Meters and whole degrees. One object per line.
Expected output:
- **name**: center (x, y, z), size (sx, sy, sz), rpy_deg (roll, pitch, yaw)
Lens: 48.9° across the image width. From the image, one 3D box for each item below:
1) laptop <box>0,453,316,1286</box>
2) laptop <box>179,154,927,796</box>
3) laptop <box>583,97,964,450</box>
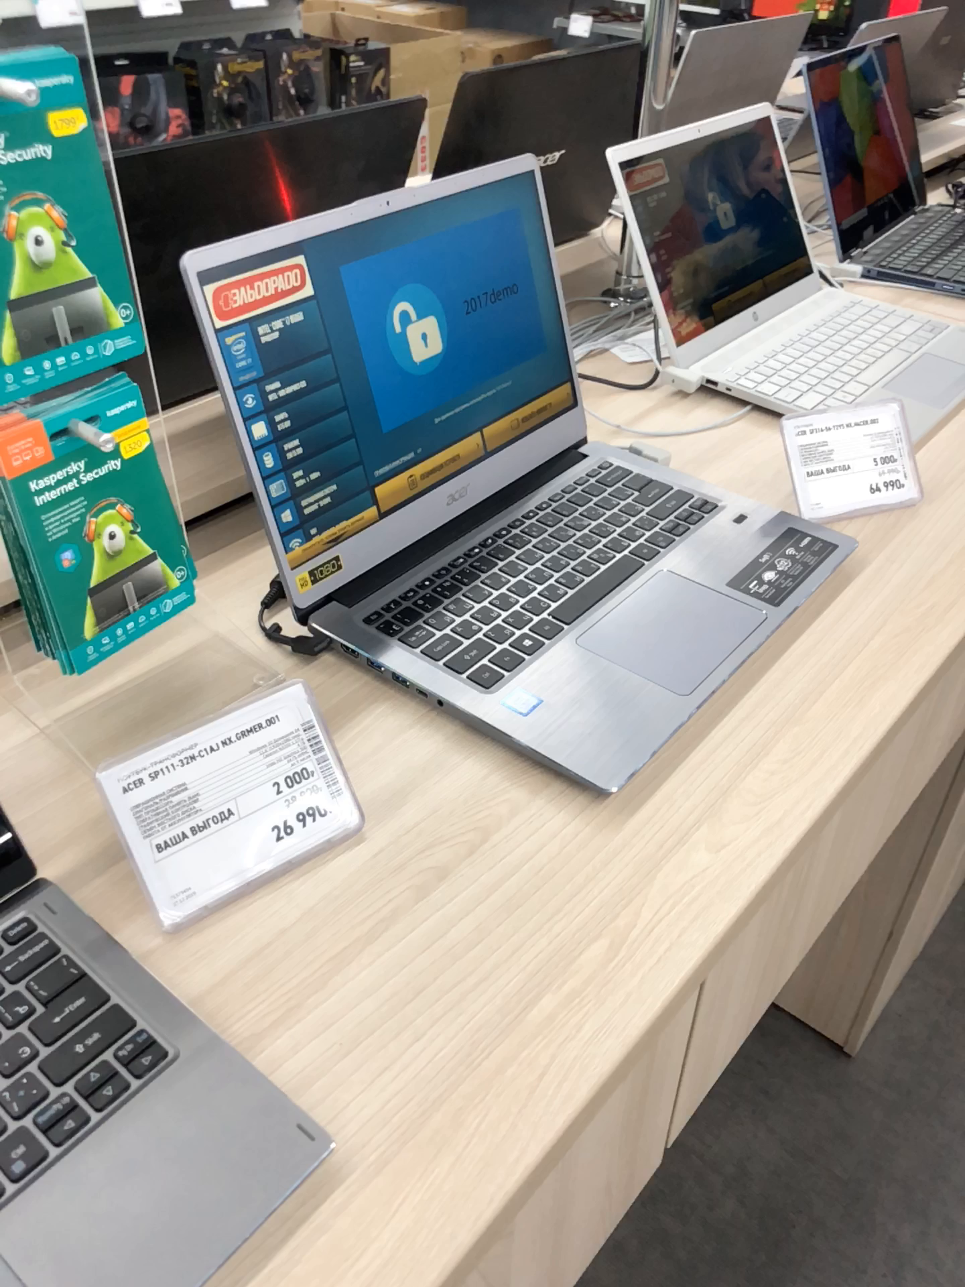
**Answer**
- **laptop**: center (-0.262, 0.120, 0.326), size (0.312, 0.159, 0.280), rpy_deg (31, 45, 28)
- **laptop**: center (0.048, -0.138, 0.660), size (0.303, 0.197, 0.316), rpy_deg (28, 44, 27)
- **laptop**: center (0.319, -0.367, 0.996), size (0.322, 0.164, 0.306), rpy_deg (29, 45, 27)
